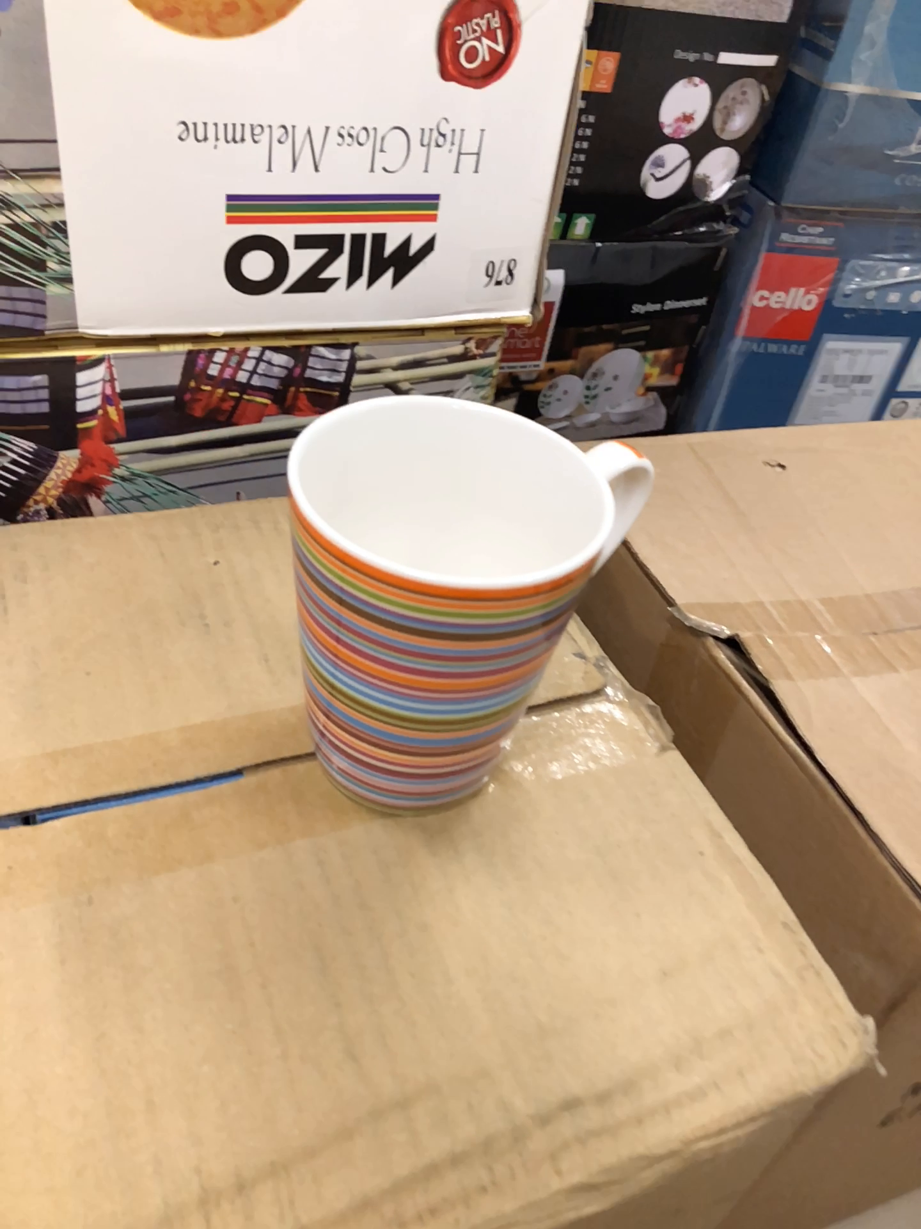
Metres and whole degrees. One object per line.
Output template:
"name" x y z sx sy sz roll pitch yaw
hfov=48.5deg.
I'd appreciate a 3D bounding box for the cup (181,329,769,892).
"cup" 0.002 -0.009 0.286 0.131 0.089 0.080 -25 52 -36
